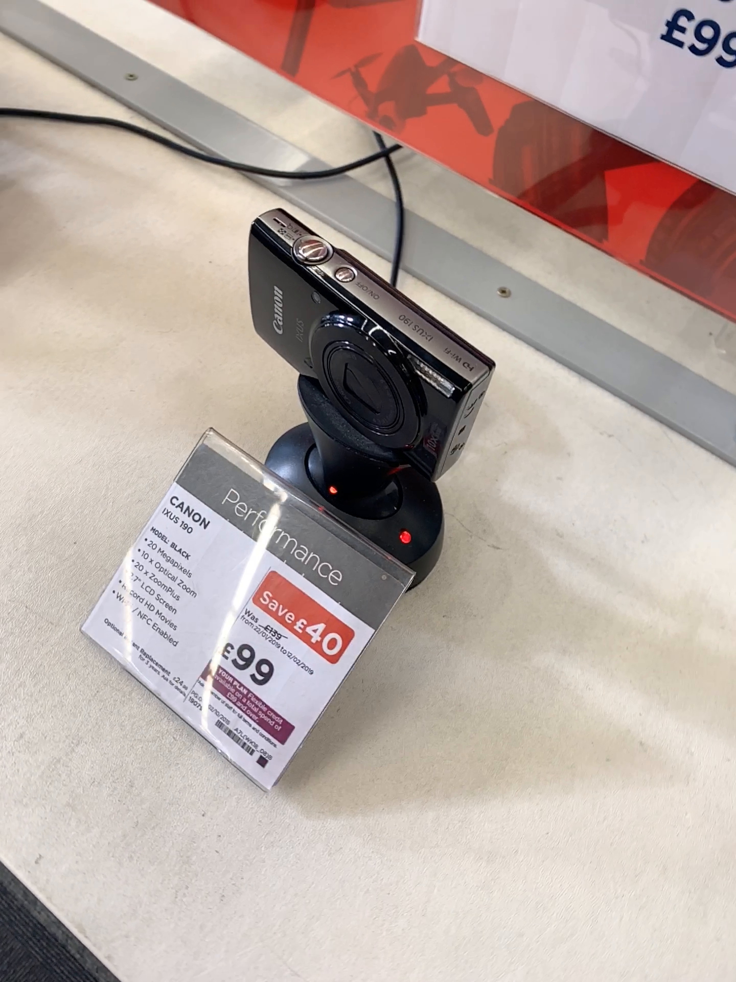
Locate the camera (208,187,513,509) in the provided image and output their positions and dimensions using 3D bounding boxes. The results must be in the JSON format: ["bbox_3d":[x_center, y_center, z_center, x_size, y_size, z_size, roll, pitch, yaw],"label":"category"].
[{"bbox_3d":[-0.006,-0.047,0.251,0.100,0.050,0.030,42,64,18],"label":"camera"}]
